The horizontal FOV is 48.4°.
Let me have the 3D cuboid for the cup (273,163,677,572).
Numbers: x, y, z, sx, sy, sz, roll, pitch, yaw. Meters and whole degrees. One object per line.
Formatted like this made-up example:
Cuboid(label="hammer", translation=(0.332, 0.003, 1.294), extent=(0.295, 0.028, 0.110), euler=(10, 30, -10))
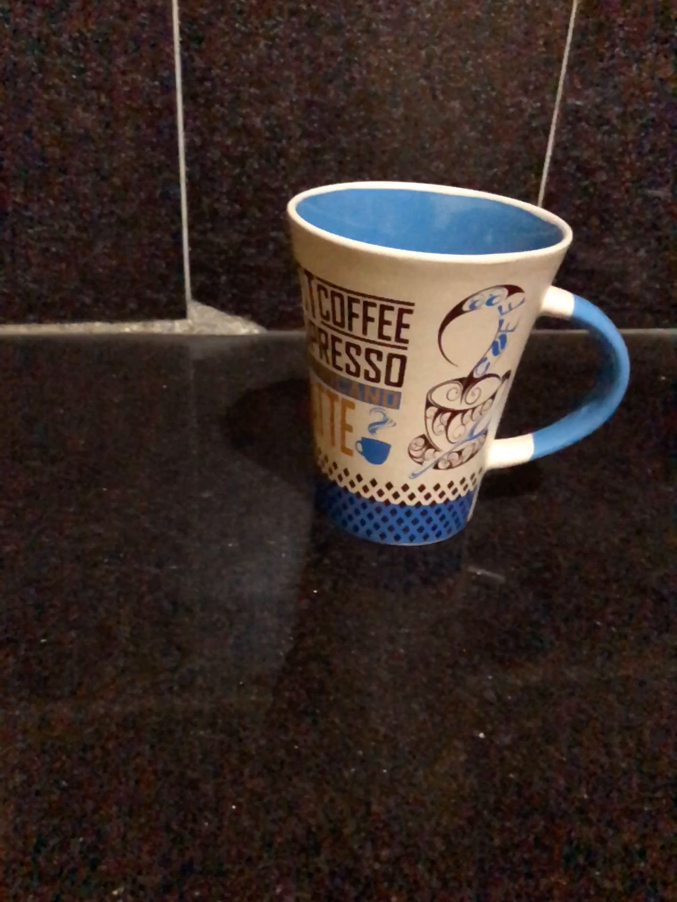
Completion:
Cuboid(label="cup", translation=(0.047, -0.033, 0.272), extent=(0.130, 0.109, 0.091), euler=(4, 30, 0))
